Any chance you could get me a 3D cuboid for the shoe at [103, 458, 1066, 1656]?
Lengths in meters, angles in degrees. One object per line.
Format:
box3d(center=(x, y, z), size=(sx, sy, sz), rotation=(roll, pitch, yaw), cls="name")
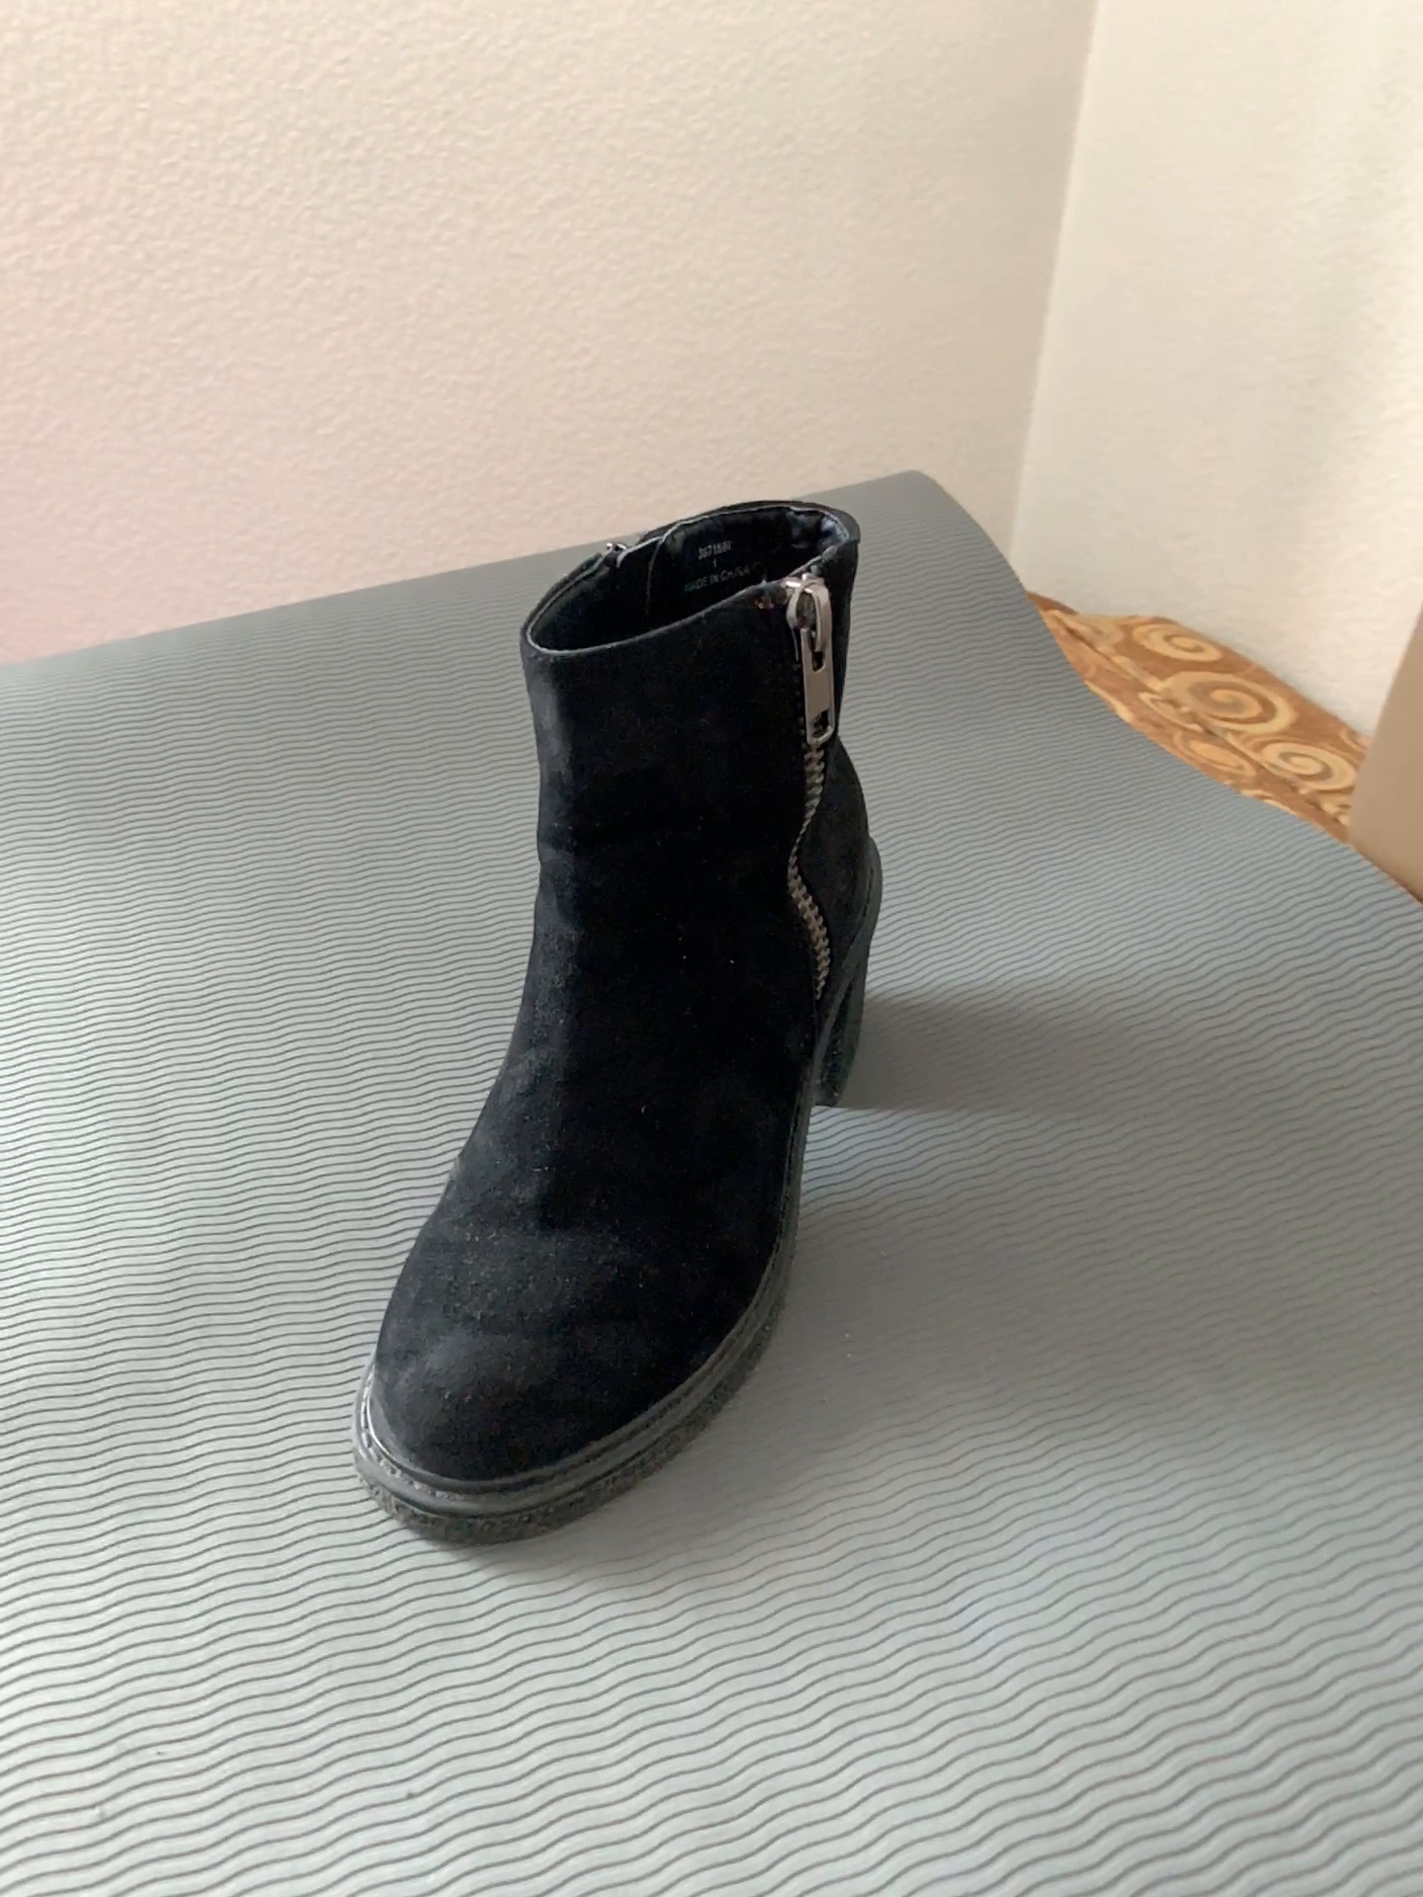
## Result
box3d(center=(-0.008, 0.005, 0.370), size=(0.098, 0.179, 0.241), rotation=(19, 38, 21), cls="shoe")
